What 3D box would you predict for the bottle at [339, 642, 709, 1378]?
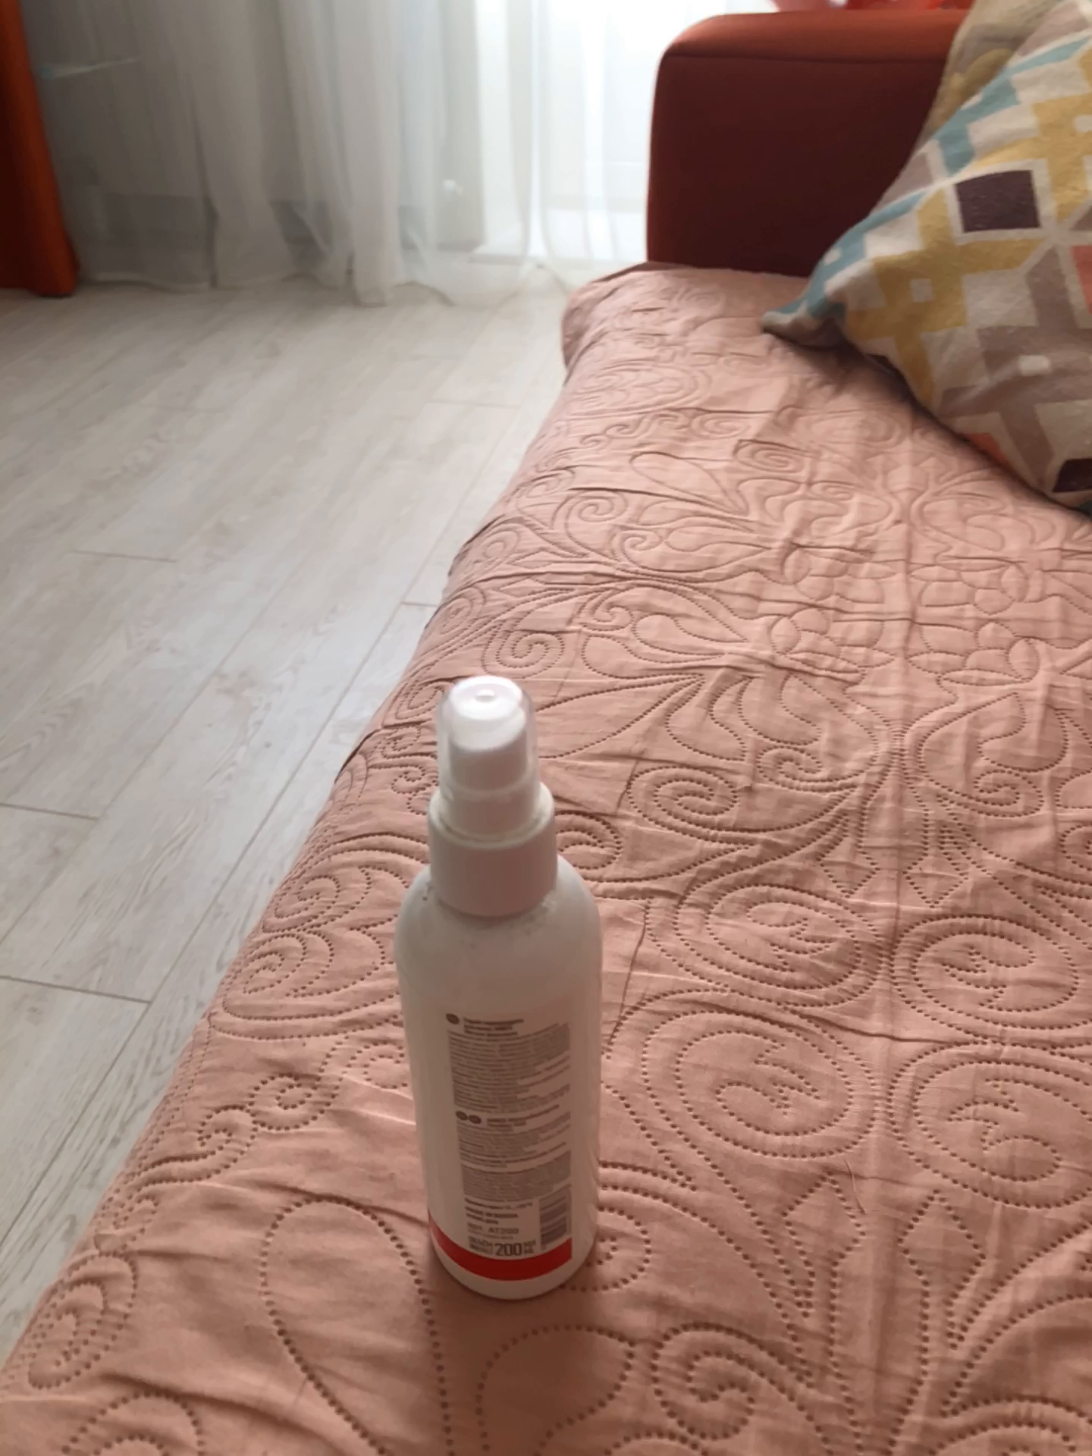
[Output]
[{"bbox_3d":[-0.002,0.071,0.275,0.050,0.169,0.050,-1,36,1],"label":"bottle"}]
